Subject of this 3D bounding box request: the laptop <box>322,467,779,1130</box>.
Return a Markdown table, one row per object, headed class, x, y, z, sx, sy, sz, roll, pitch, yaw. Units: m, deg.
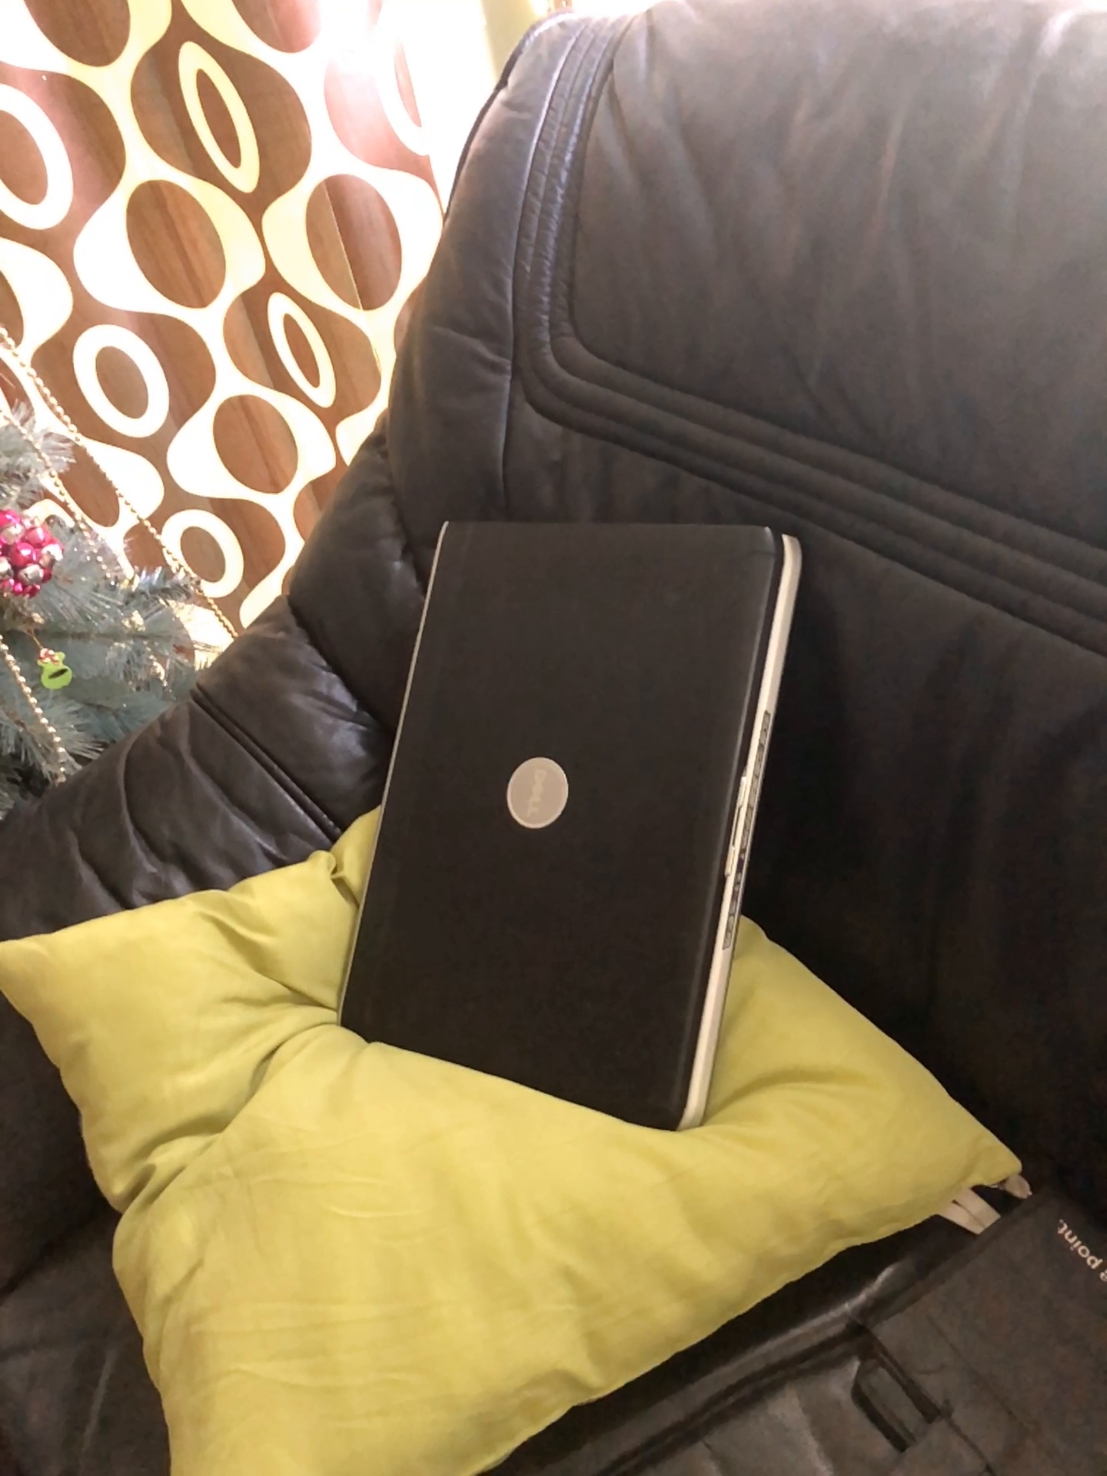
| class | x | y | z | sx | sy | sz | roll | pitch | yaw |
| --- | --- | --- | --- | --- | --- | --- | --- | --- | --- |
| laptop | -0.008 | 0.018 | 0.740 | 0.247 | 0.033 | 0.345 | 7 | 82 | 34 |
